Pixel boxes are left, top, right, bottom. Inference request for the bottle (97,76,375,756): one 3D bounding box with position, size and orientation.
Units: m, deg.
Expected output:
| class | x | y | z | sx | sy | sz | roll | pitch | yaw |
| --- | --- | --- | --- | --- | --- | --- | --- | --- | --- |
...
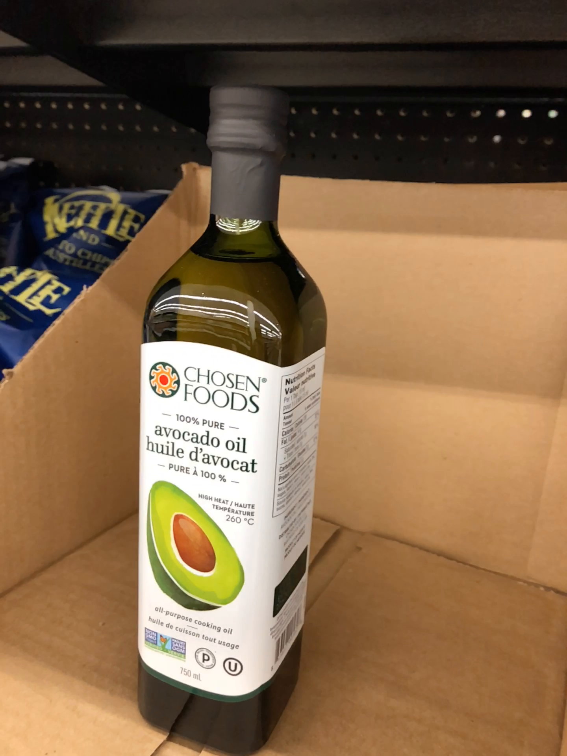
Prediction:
| class | x | y | z | sx | sy | sz | roll | pitch | yaw |
| --- | --- | --- | --- | --- | --- | --- | --- | --- | --- |
| bottle | -0.023 | 0.031 | 0.299 | 0.090 | 0.308 | 0.070 | 9 | 18 | 20 |
